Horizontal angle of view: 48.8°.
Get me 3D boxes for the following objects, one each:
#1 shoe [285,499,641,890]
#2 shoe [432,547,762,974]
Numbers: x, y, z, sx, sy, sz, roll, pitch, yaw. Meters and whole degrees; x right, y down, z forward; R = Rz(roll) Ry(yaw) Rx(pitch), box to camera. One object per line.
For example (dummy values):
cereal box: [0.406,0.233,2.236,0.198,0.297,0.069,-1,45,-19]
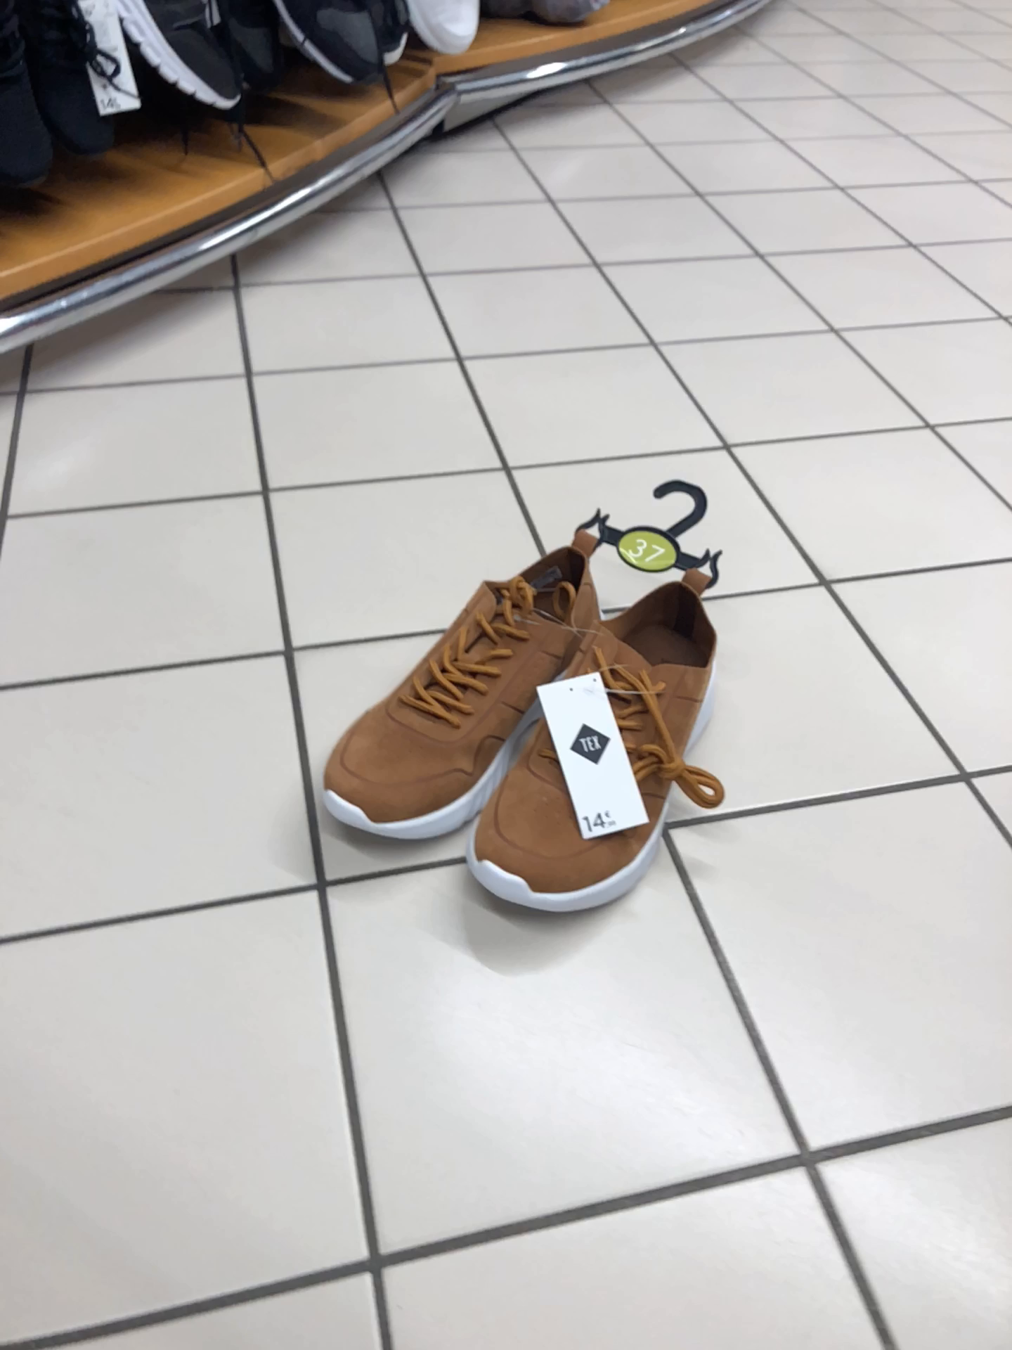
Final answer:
shoe: [-0.018,0.002,0.659,0.090,0.099,0.221,25,46,22]
shoe: [0.057,0.038,0.644,0.090,0.099,0.231,22,45,20]
